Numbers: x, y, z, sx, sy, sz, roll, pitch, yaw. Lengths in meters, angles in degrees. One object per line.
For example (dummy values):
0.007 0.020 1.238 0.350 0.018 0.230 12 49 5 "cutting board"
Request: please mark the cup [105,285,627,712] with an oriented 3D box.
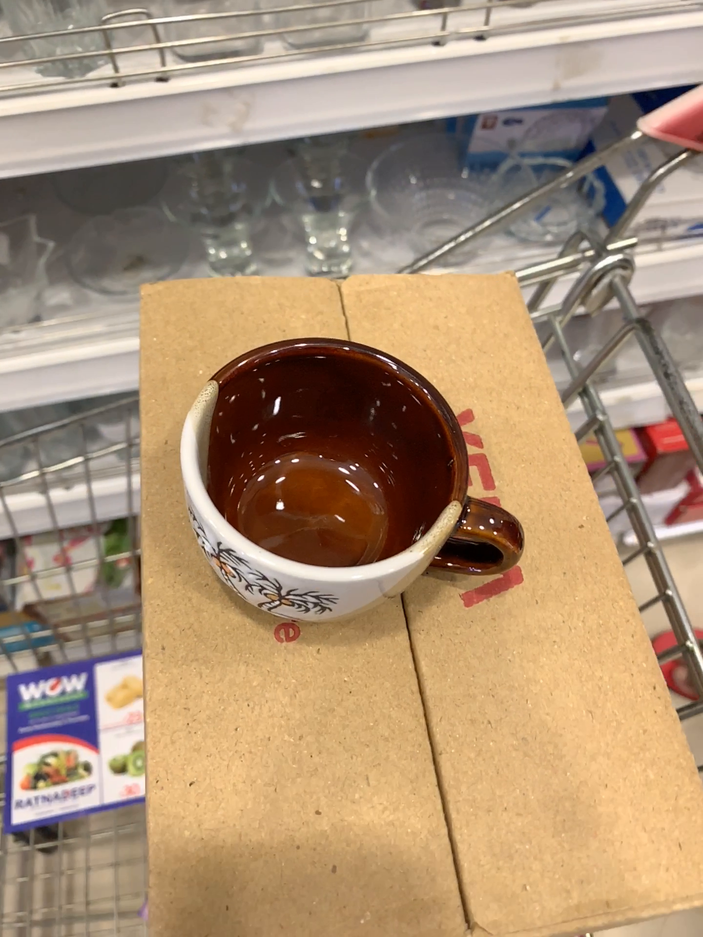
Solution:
0.004 0.010 0.182 0.100 0.060 0.060 17 61 3 "cup"
